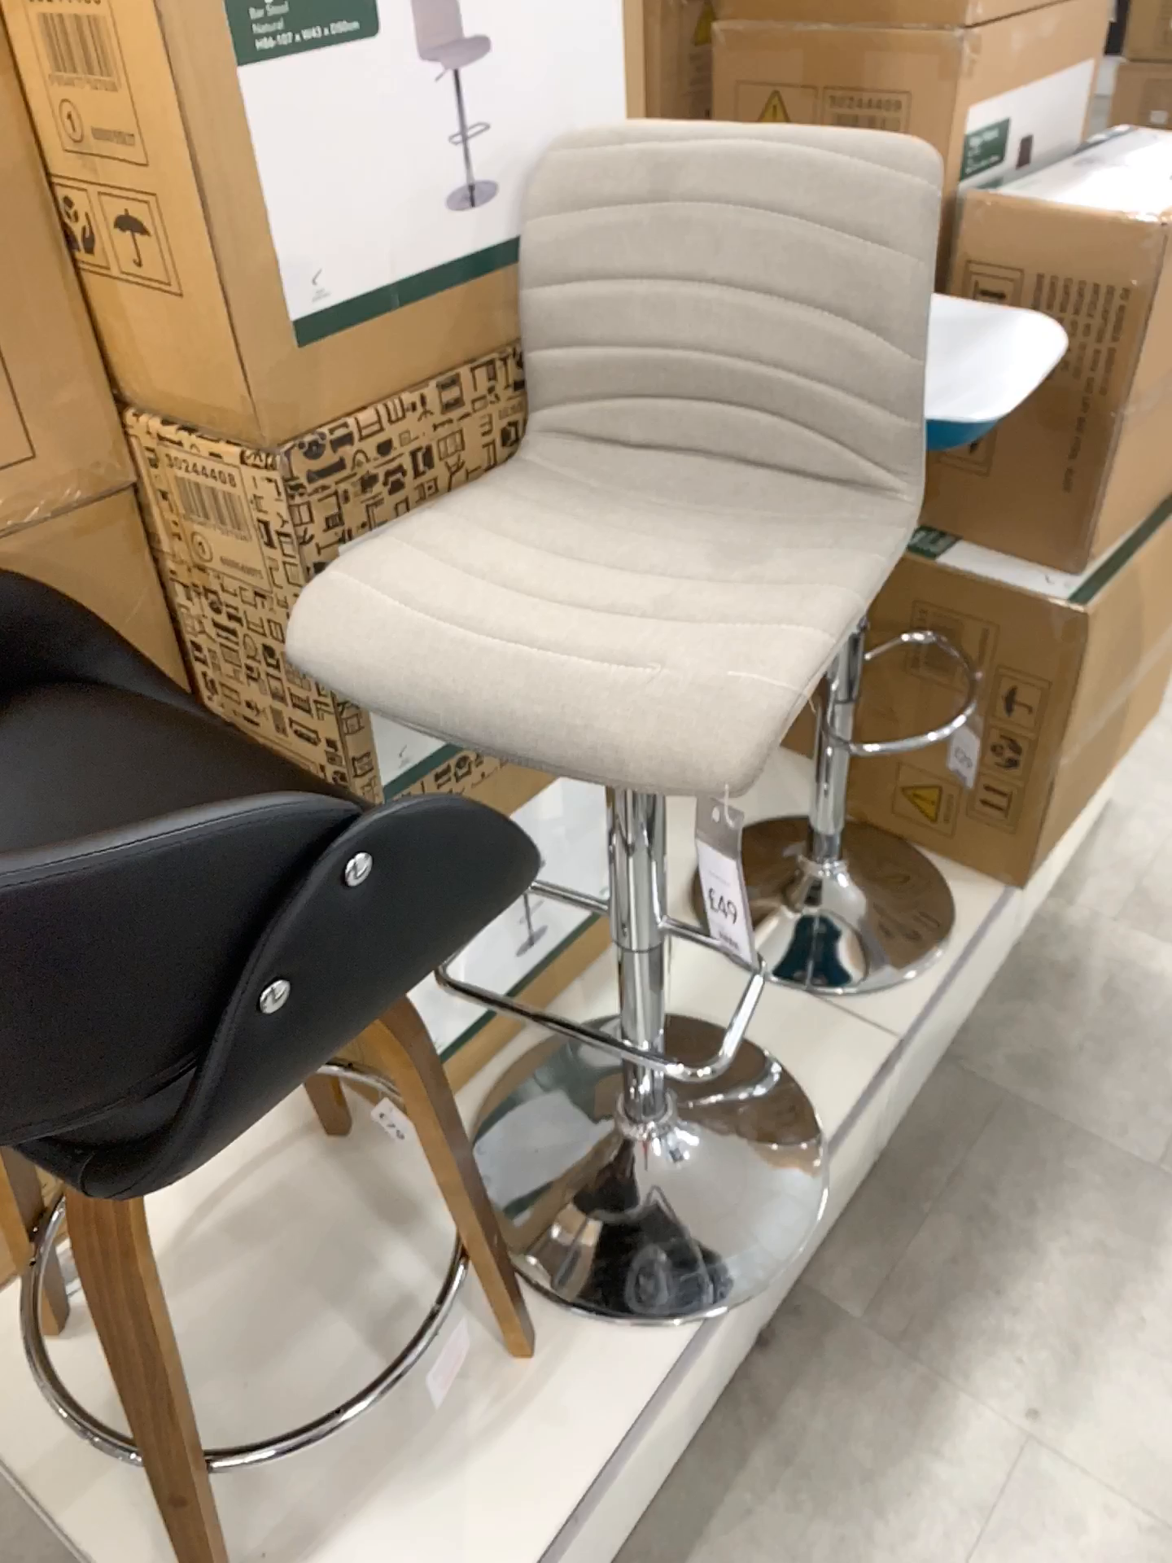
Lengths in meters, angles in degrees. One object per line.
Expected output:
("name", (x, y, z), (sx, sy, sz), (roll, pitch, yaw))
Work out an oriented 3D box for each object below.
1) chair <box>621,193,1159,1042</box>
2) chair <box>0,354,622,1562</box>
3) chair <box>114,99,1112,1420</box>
("chair", (0.321, -0.185, 1.415), (0.389, 0.825, 0.407), (20, 42, 27))
("chair", (-0.340, 0.199, 0.989), (0.536, 0.865, 0.490), (25, 44, 32))
("chair", (0.062, -0.011, 1.091), (0.466, 0.984, 0.511), (20, 42, 27))
